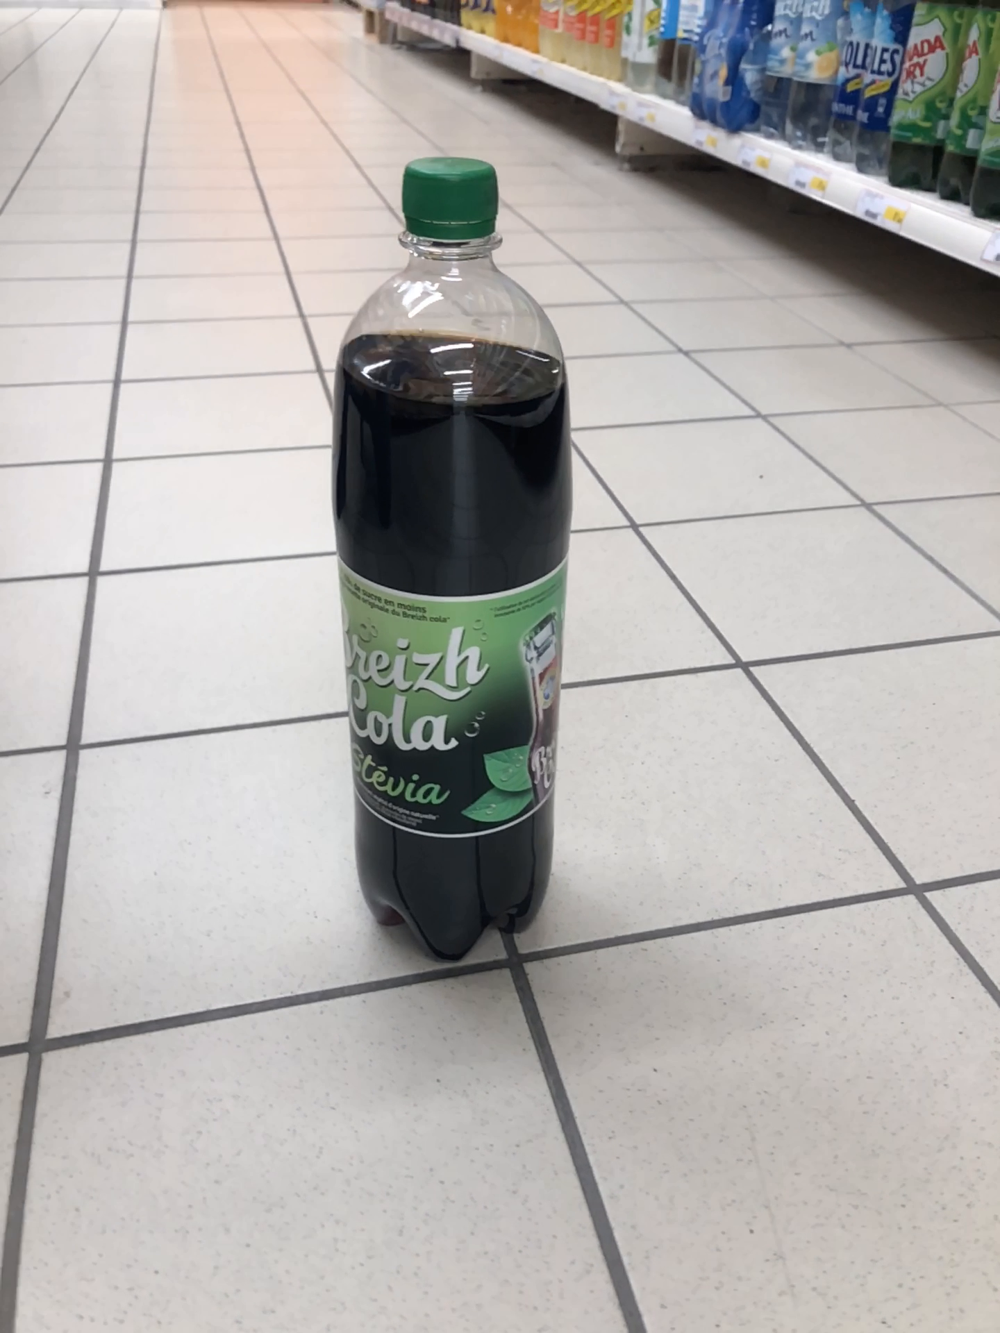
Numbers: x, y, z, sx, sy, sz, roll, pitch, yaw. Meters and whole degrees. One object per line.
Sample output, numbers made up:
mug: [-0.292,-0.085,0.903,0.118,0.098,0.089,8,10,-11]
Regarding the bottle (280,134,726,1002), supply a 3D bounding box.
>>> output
bottle: [-0.001,-0.030,0.420,0.100,0.298,0.101,2,32,-1]
